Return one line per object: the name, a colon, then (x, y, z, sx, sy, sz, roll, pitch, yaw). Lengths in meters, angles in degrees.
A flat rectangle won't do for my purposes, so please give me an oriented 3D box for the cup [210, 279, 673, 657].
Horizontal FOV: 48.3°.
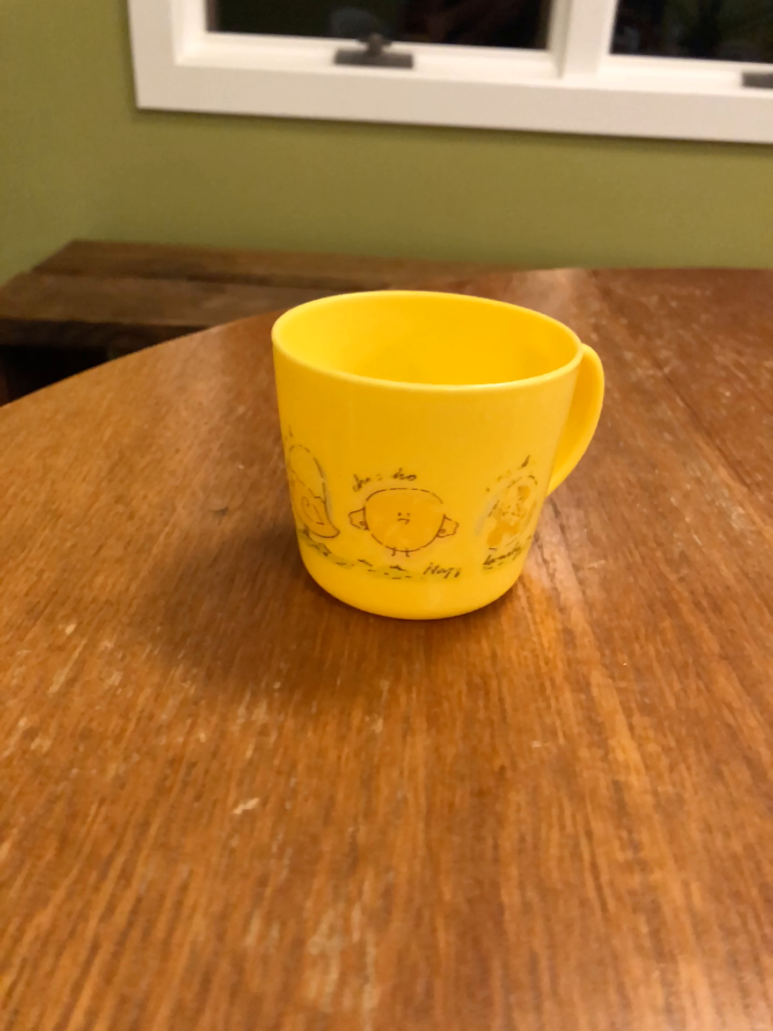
cup: (0.012, -0.022, 0.250, 0.098, 0.064, 0.081, -15, 34, -28)
